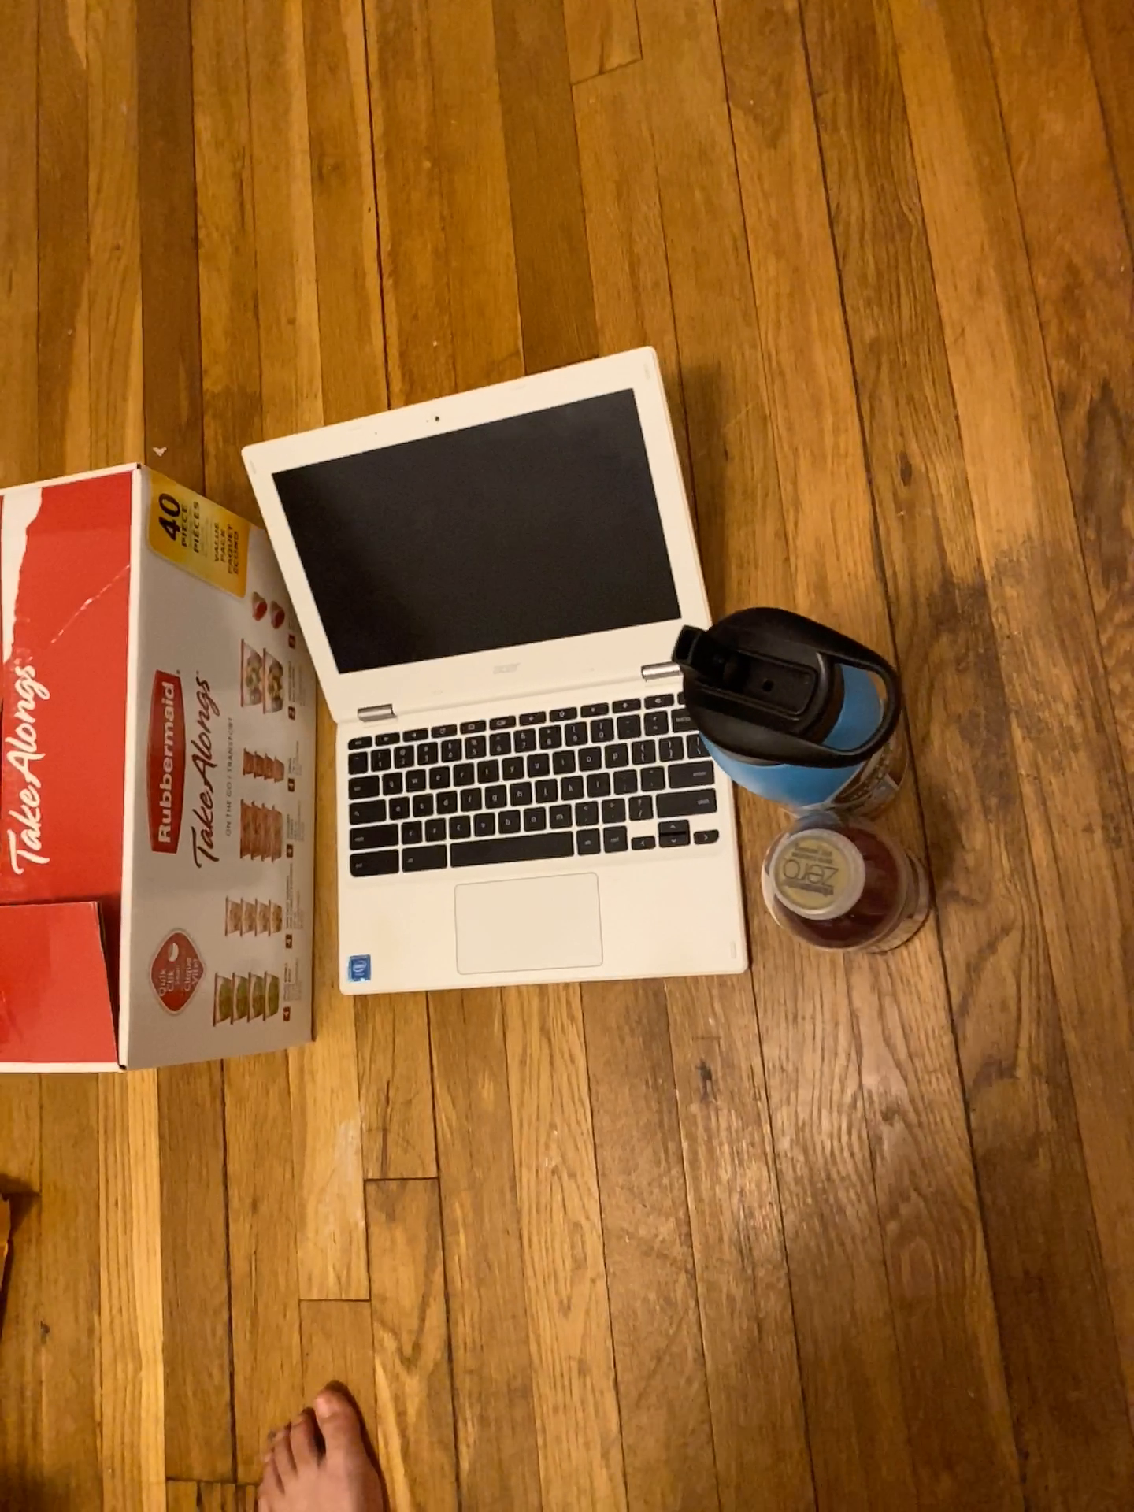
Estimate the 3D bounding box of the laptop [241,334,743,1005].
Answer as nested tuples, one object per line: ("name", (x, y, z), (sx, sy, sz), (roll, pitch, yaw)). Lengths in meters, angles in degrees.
("laptop", (-0.056, -0.036, 0.737), (0.289, 0.109, 0.365), (-7, 79, 22))
